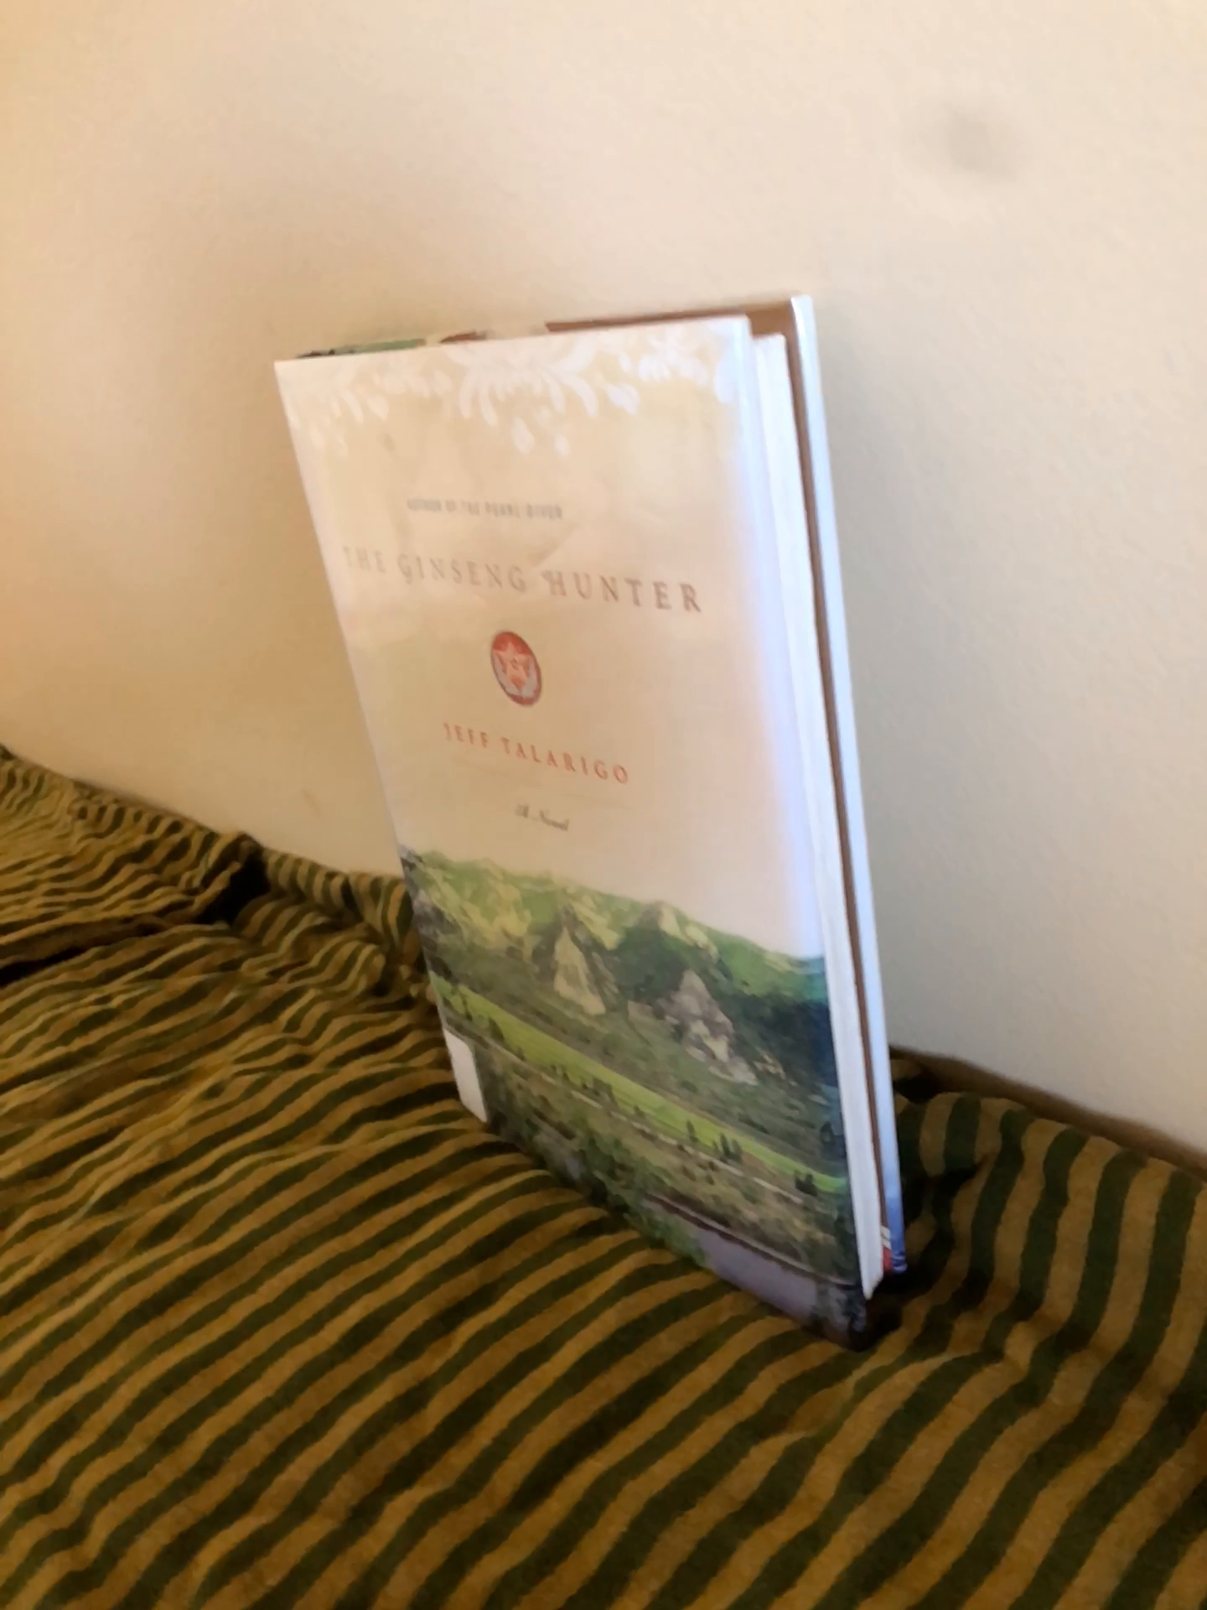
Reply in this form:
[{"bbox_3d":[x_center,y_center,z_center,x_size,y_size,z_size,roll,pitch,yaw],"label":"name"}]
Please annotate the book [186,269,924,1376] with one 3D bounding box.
[{"bbox_3d":[-0.008,0.004,0.278,0.138,0.203,0.029,17,38,43],"label":"book"}]
